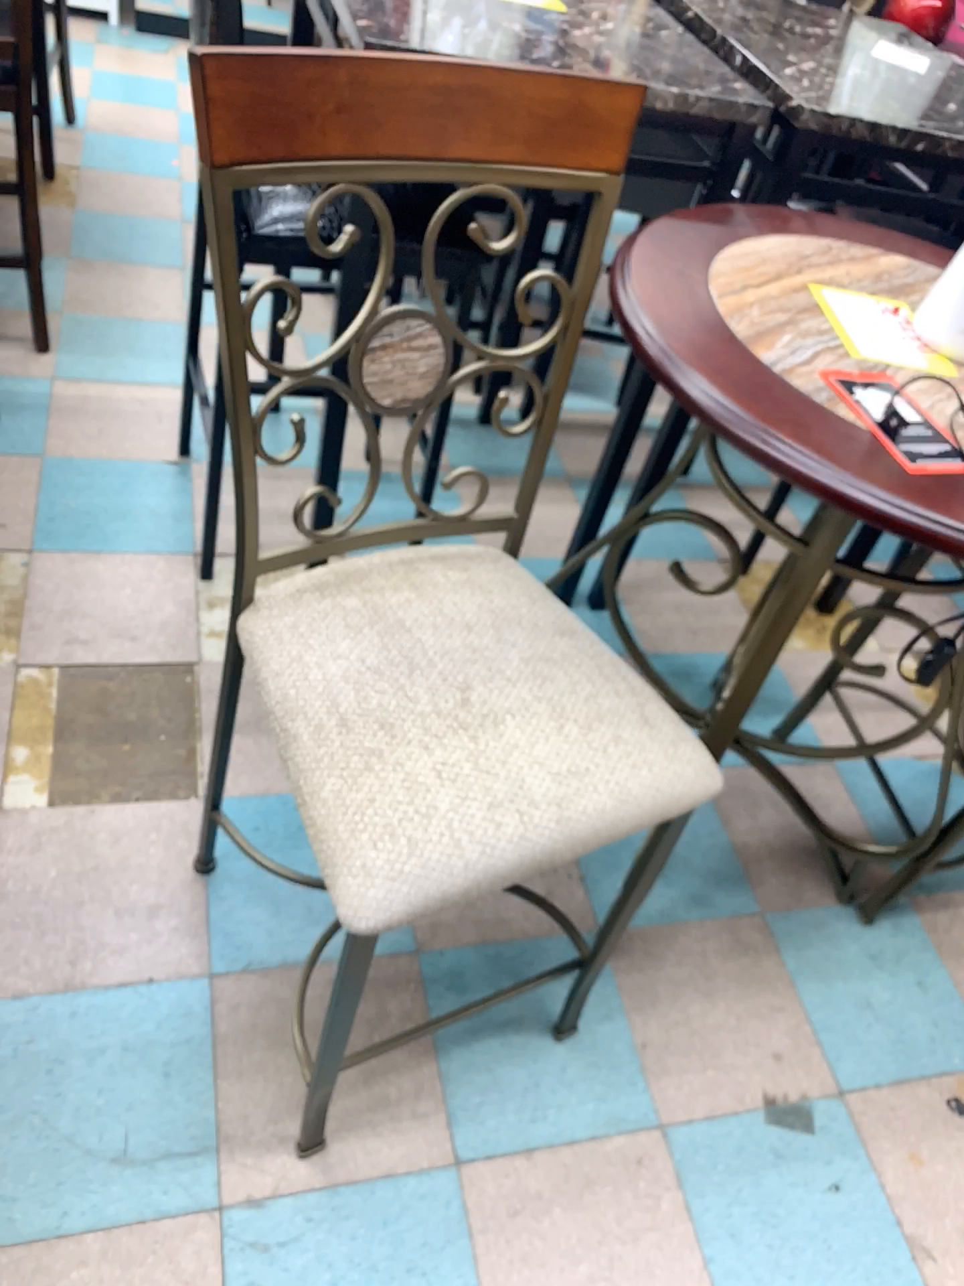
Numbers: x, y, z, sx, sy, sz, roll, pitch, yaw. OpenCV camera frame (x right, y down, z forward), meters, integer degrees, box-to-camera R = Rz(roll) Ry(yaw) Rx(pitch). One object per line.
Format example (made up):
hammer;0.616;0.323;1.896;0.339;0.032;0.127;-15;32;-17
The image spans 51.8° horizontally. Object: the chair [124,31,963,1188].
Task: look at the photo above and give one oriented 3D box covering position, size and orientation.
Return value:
chair;-0.040;0.029;1.117;0.511;1.052;0.610;-14;52;-28
